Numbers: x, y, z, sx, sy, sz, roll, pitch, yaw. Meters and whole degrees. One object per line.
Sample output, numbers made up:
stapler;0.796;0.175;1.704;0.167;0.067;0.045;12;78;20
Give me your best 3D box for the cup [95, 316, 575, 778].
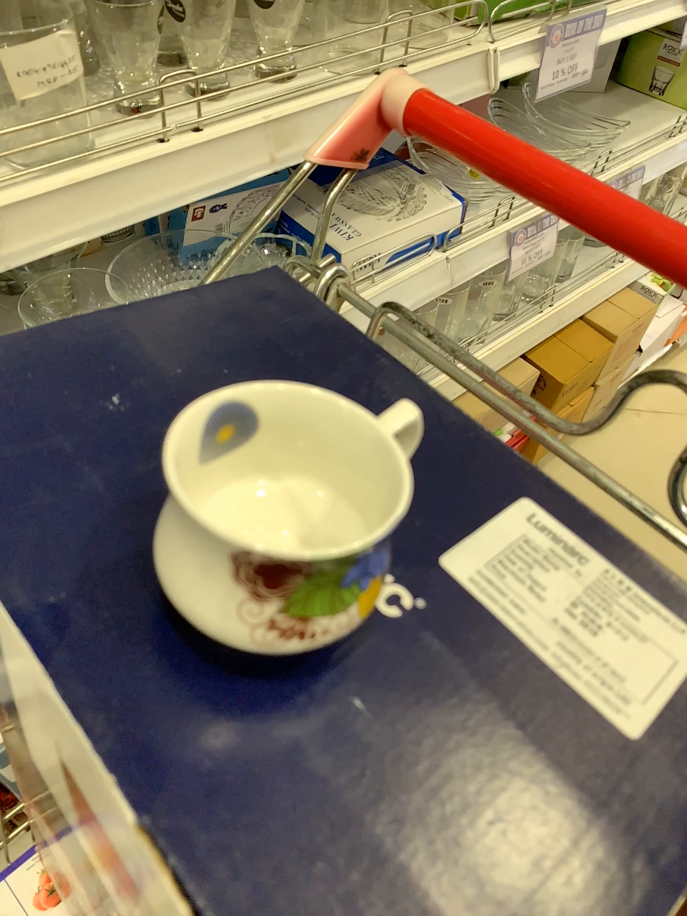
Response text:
cup;-0.001;0.015;0.171;0.090;0.050;0.060;-30;59;-35
